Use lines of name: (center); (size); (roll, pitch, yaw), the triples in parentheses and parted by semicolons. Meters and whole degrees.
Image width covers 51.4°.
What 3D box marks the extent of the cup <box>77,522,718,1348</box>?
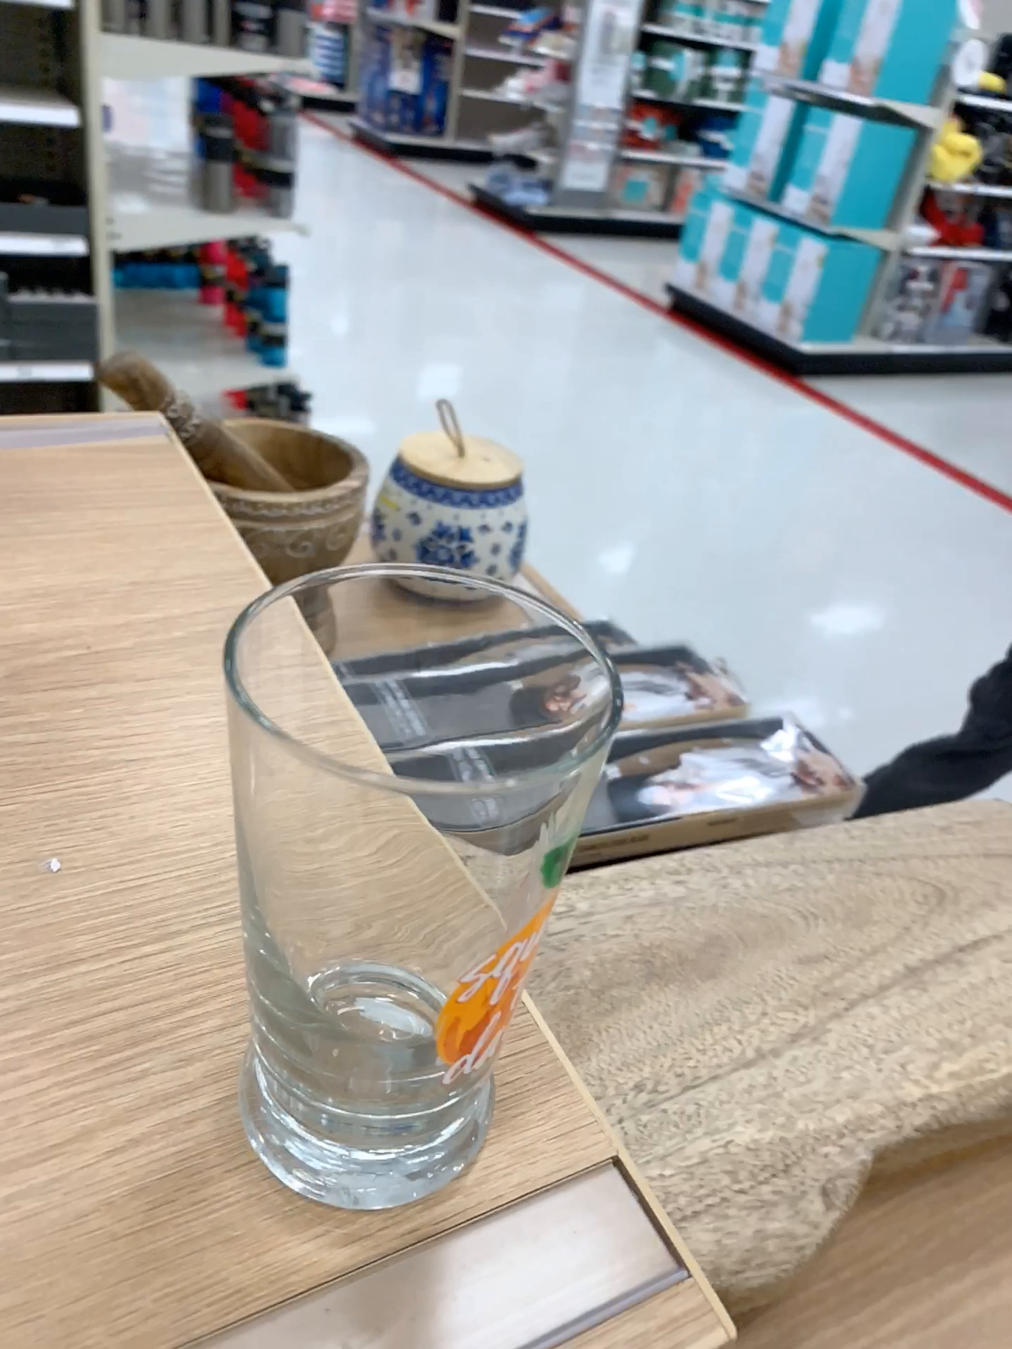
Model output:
cup: (-0.020, 0.050, 0.208); (0.080, 0.119, 0.080); (8, 33, -5)
